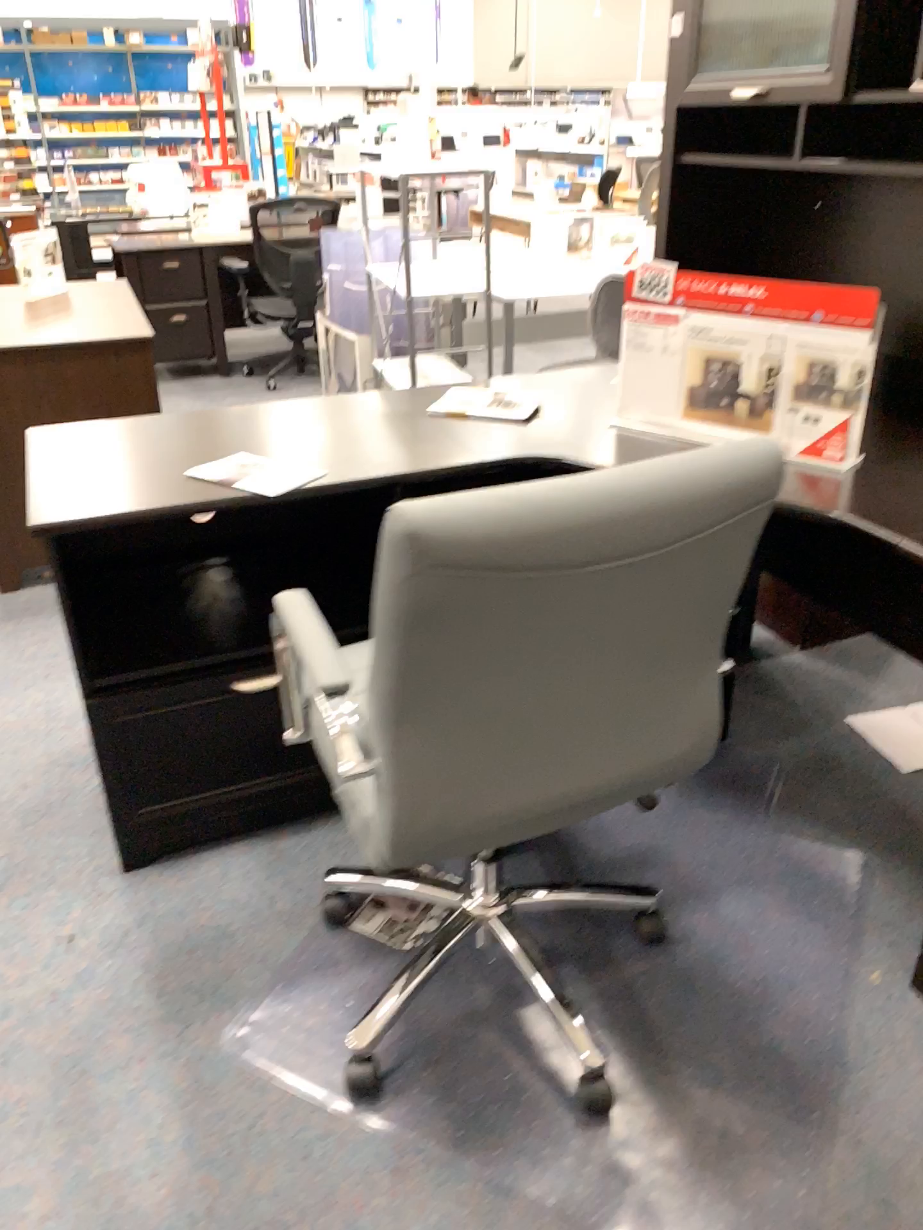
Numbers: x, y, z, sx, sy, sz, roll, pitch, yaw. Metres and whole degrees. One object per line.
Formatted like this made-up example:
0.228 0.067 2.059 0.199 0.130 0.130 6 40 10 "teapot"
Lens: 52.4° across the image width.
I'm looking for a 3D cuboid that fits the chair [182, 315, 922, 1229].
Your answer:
0.039 0.147 1.355 0.657 0.962 0.710 -10 29 -18 "chair"
